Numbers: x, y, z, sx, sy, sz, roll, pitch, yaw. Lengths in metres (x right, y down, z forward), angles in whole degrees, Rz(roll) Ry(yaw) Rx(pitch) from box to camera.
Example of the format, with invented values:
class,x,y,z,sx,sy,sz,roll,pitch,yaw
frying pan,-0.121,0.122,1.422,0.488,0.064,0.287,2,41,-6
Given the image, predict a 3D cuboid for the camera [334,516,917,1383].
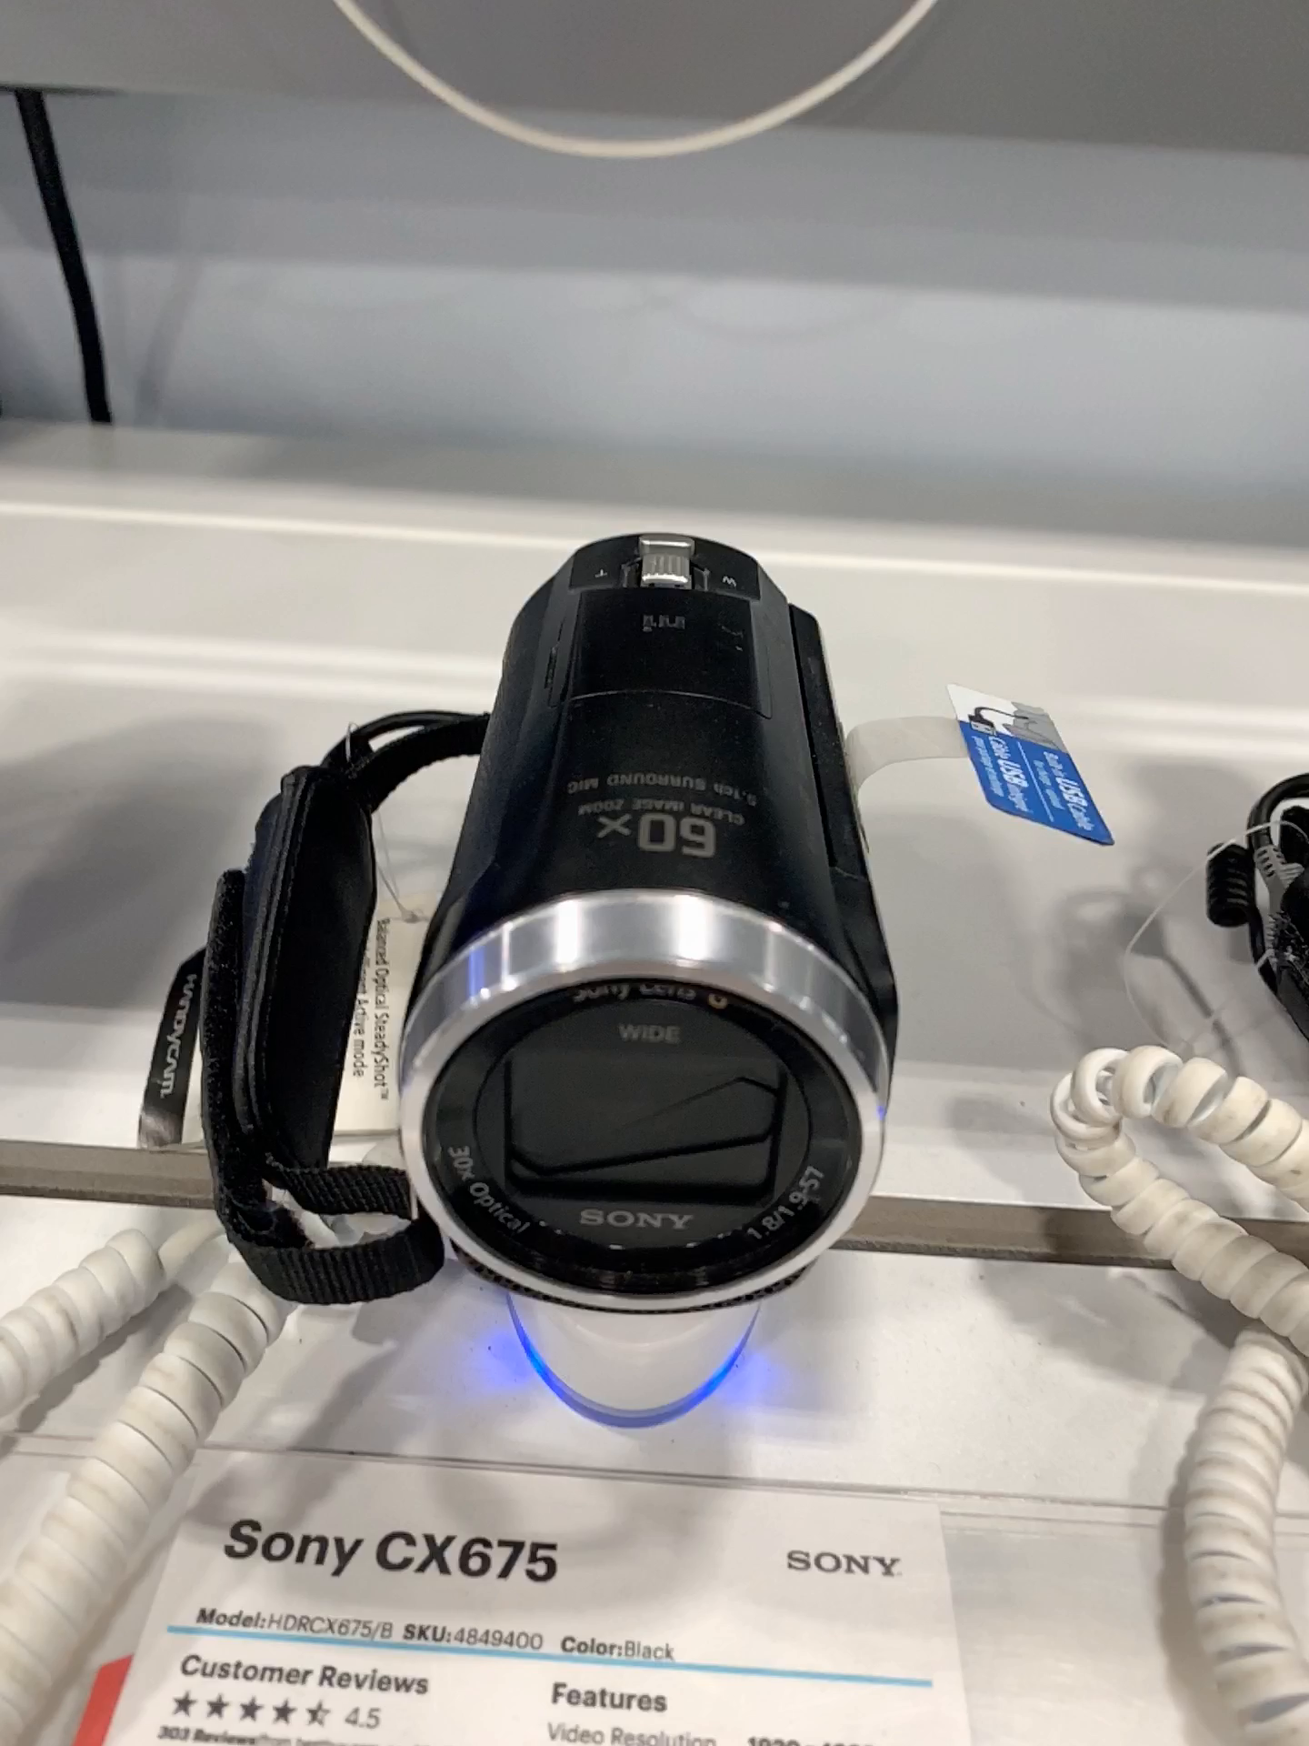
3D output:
class,x,y,z,sx,sy,sz,roll,pitch,yaw
camera,-0.003,0.001,0.188,0.053,0.060,0.113,4,34,-1
